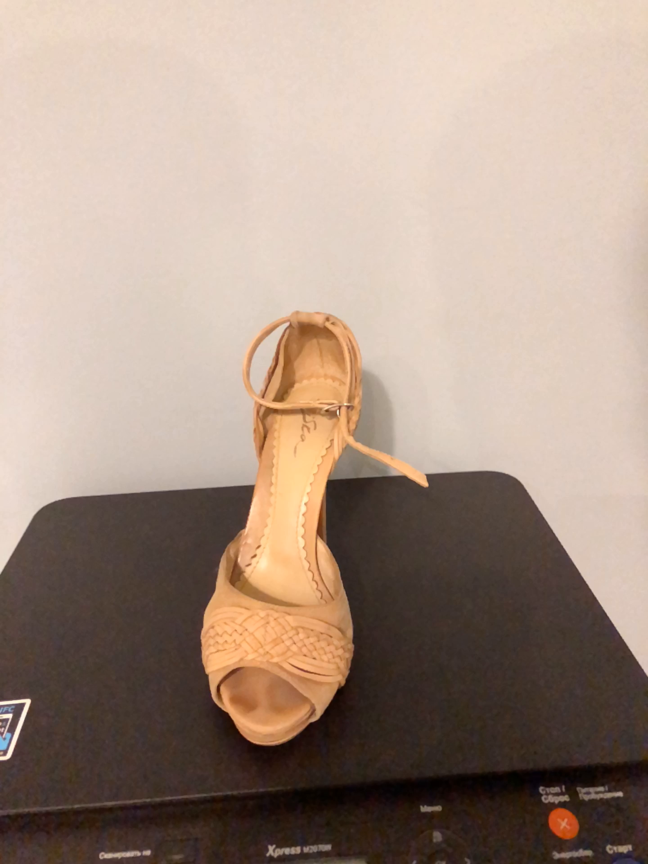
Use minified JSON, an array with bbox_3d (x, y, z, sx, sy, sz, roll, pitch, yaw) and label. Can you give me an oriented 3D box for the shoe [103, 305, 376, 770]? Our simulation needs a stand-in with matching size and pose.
[{"bbox_3d":[-0.024,0.036,0.404,0.090,0.159,0.221,2,25,8],"label":"shoe"}]
